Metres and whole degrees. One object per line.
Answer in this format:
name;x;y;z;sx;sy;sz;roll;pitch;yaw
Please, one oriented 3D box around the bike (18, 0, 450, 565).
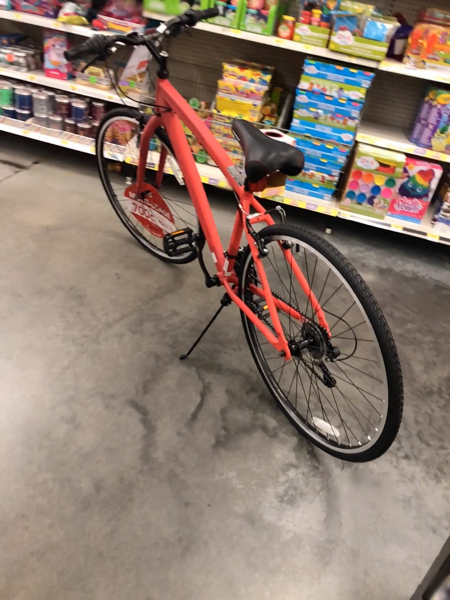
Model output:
bike;-0.080;-0.281;1.603;0.614;1.000;1.694;-15;40;-33
